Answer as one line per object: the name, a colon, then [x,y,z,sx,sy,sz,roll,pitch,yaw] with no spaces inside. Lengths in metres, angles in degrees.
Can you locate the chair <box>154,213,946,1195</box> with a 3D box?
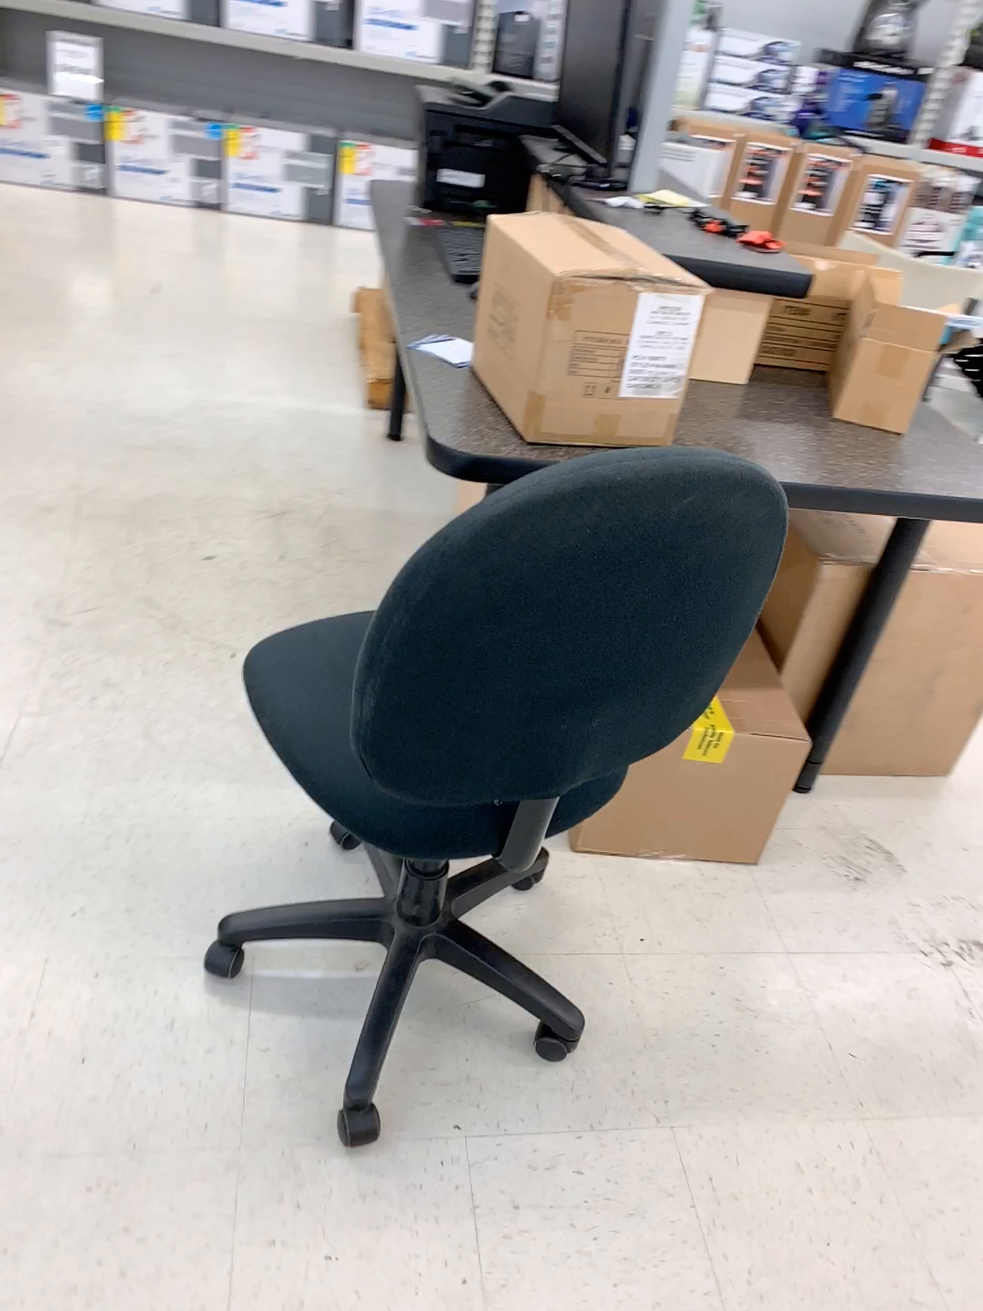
chair: [-0.048,0.043,1.280,0.601,0.965,0.602,-8,38,-26]
